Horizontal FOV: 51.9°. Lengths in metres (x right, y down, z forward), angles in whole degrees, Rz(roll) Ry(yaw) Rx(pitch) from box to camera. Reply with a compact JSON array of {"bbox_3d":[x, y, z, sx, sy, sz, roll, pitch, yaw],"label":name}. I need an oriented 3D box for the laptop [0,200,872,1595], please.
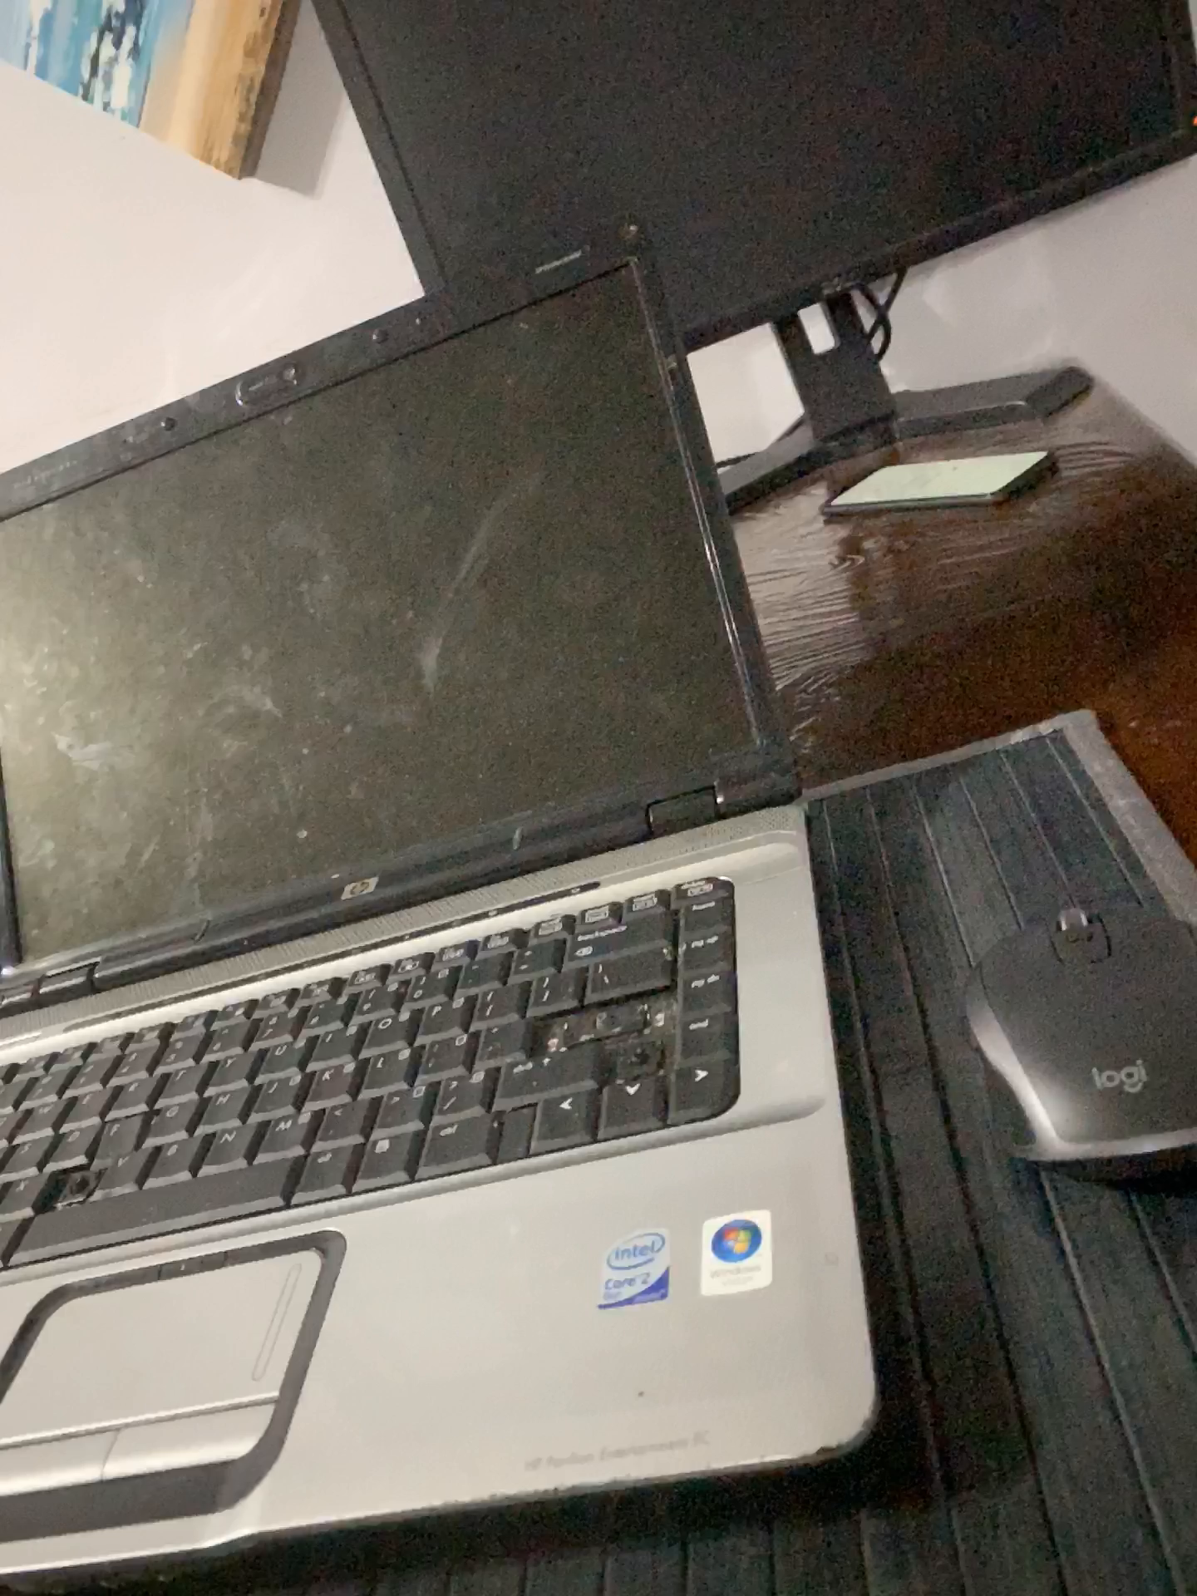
[{"bbox_3d":[-0.129,-0.019,0.401,0.349,0.186,0.404,-16,26,14],"label":"laptop"}]
